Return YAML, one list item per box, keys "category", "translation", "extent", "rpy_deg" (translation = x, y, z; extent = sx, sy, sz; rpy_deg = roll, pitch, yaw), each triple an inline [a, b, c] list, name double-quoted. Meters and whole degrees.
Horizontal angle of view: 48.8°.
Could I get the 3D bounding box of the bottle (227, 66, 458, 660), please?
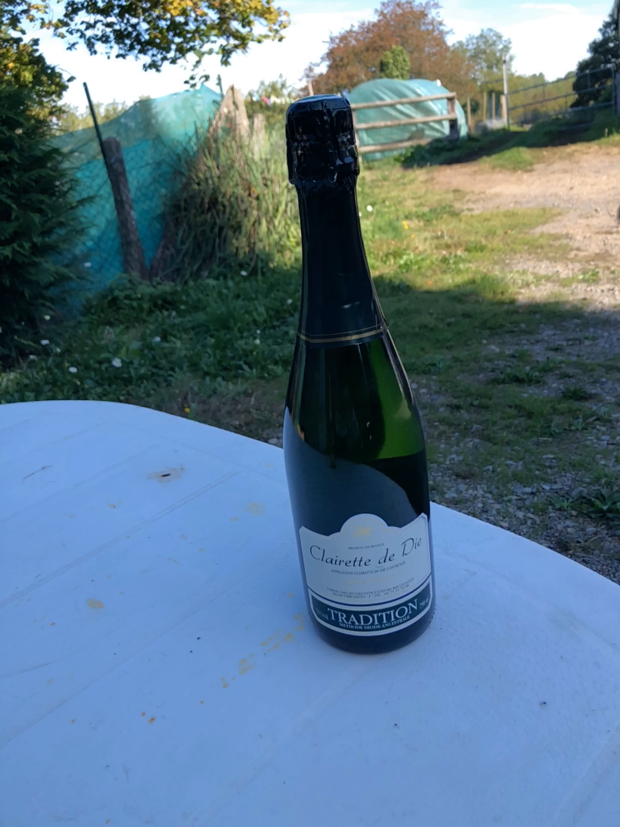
- category: "bottle"
  translation: [0.027, -0.019, 0.394]
  extent: [0.090, 0.309, 0.101]
  rpy_deg: [-5, 21, 4]
